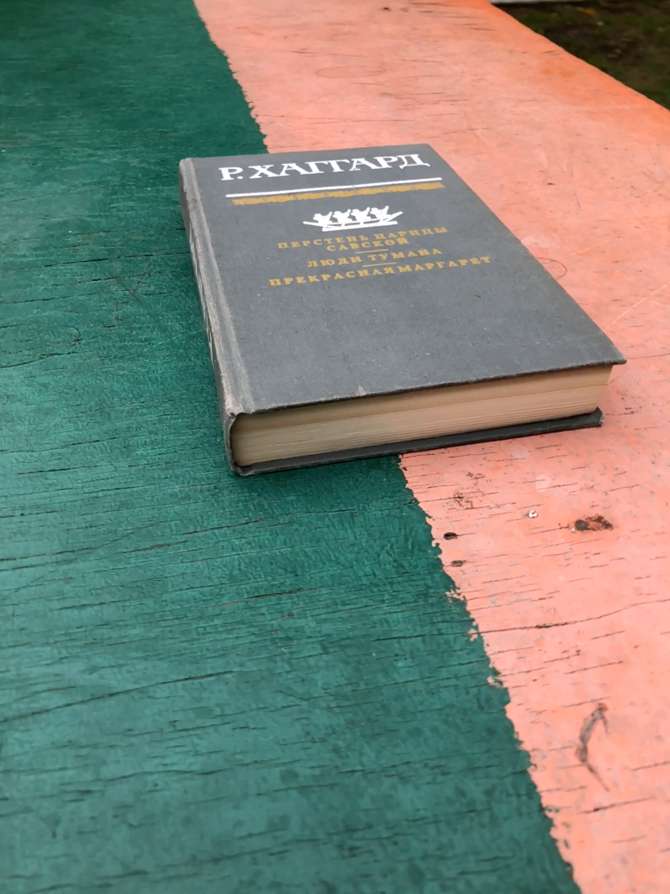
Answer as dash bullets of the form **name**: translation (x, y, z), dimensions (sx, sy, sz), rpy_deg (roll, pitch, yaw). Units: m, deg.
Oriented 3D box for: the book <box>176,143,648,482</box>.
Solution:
- **book**: translation (0.013, -0.081, 0.341), dimensions (0.150, 0.030, 0.222), rpy_deg (-8, 42, -10)
